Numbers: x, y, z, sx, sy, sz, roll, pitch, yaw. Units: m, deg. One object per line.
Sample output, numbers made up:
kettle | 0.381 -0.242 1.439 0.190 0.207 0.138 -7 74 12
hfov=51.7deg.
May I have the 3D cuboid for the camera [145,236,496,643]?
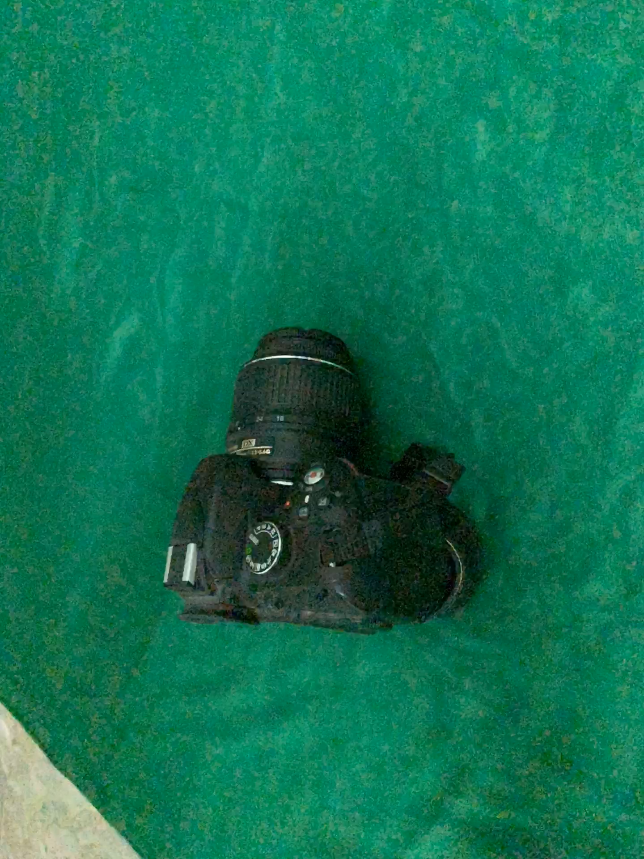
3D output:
camera | -0.003 0.021 0.339 0.134 0.100 0.166 -16 66 41
